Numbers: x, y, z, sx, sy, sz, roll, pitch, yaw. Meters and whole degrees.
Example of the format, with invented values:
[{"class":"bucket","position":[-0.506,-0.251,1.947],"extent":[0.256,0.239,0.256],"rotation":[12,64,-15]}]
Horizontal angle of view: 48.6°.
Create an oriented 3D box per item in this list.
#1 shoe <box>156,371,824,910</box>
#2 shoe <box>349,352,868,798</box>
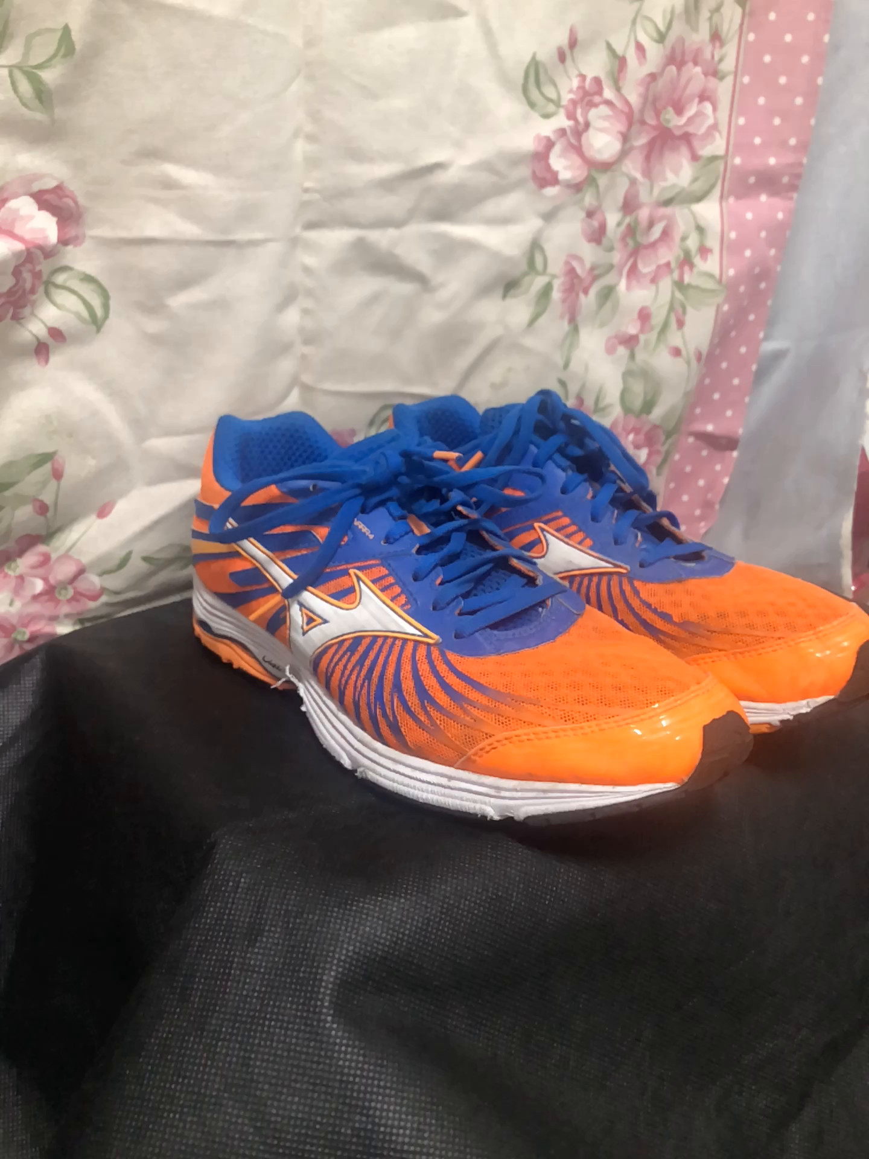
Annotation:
[{"class":"shoe","position":[0.004,-0.004,0.355],"extent":[0.110,0.109,0.221],"rotation":[-16,26,-39]},{"class":"shoe","position":[0.075,-0.023,0.401],"extent":[0.110,0.109,0.221],"rotation":[-16,26,-39]}]
